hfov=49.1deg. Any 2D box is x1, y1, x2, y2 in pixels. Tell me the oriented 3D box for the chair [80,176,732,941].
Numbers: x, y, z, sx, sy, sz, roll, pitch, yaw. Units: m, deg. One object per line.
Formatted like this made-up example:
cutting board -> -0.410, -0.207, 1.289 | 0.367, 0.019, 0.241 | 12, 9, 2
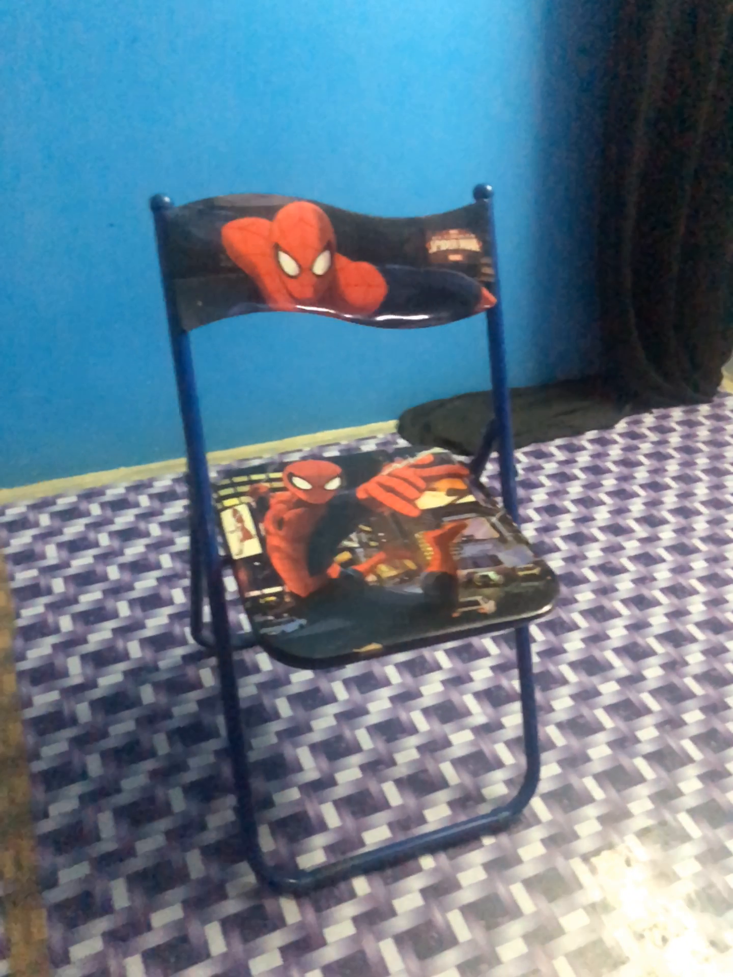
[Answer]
chair -> -0.026, 0.040, 1.018 | 0.511, 0.686, 0.562 | -9, 38, -20
